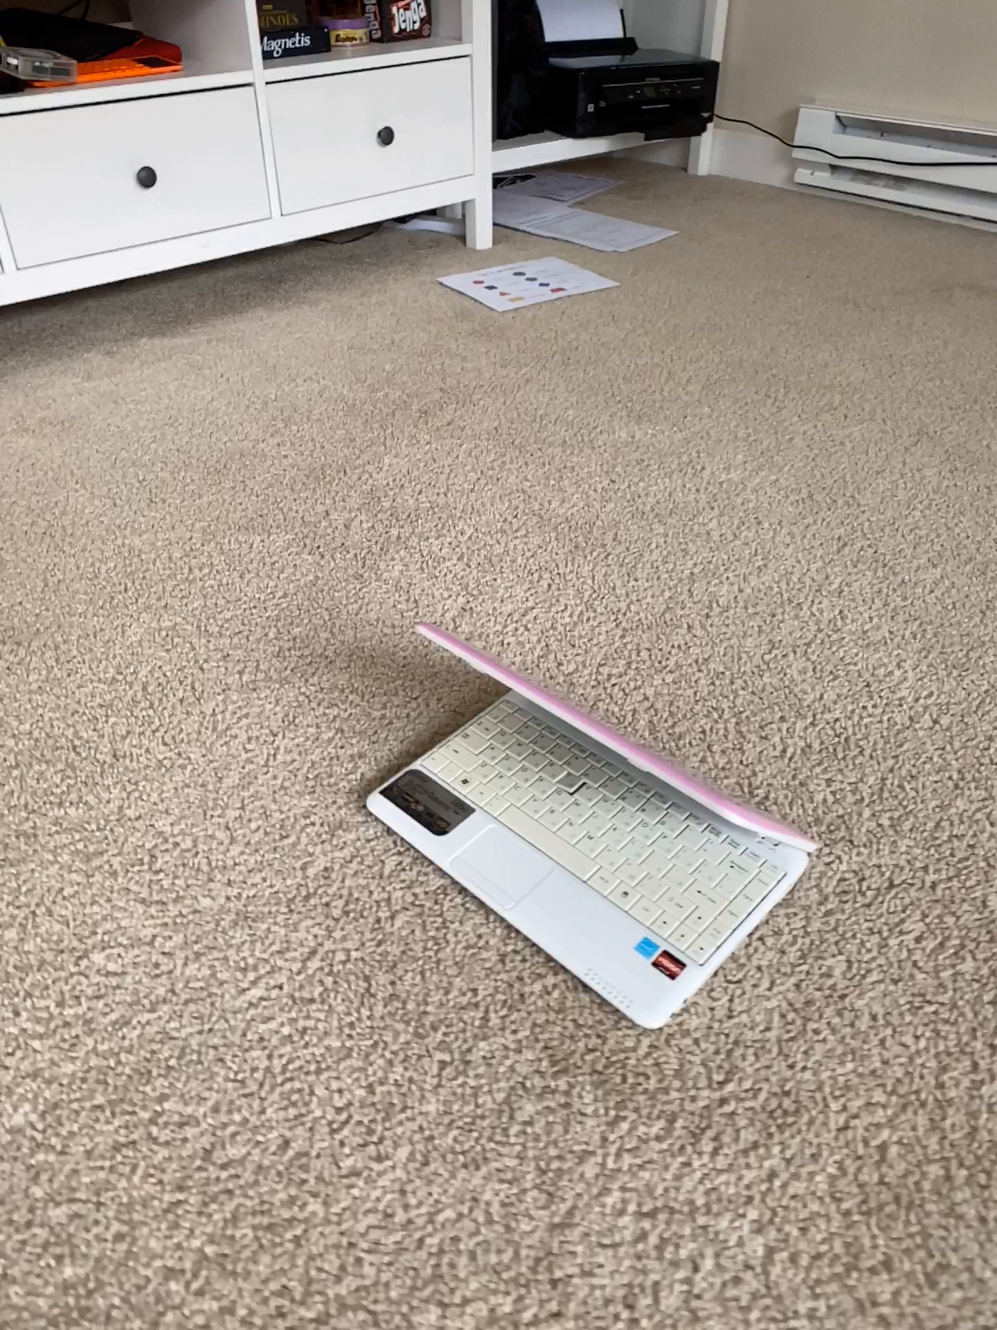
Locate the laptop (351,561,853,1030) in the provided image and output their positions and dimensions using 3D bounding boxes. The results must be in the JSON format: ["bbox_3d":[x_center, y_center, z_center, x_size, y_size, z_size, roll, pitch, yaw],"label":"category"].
[{"bbox_3d":[0.064,0.073,0.738,0.291,0.125,0.193,31,49,34],"label":"laptop"}]
